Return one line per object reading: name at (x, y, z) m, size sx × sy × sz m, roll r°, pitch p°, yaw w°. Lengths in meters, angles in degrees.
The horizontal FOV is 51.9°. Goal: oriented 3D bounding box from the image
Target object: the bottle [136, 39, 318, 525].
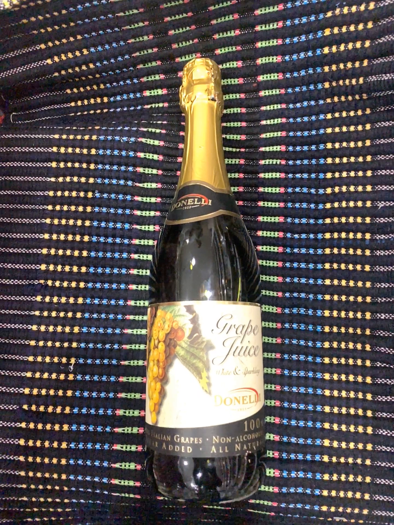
bottle at (0.010, -0.001, 0.281) m, size 0.090 × 0.080 × 0.300 m, roll 0°, pitch 73°, yaw -4°
